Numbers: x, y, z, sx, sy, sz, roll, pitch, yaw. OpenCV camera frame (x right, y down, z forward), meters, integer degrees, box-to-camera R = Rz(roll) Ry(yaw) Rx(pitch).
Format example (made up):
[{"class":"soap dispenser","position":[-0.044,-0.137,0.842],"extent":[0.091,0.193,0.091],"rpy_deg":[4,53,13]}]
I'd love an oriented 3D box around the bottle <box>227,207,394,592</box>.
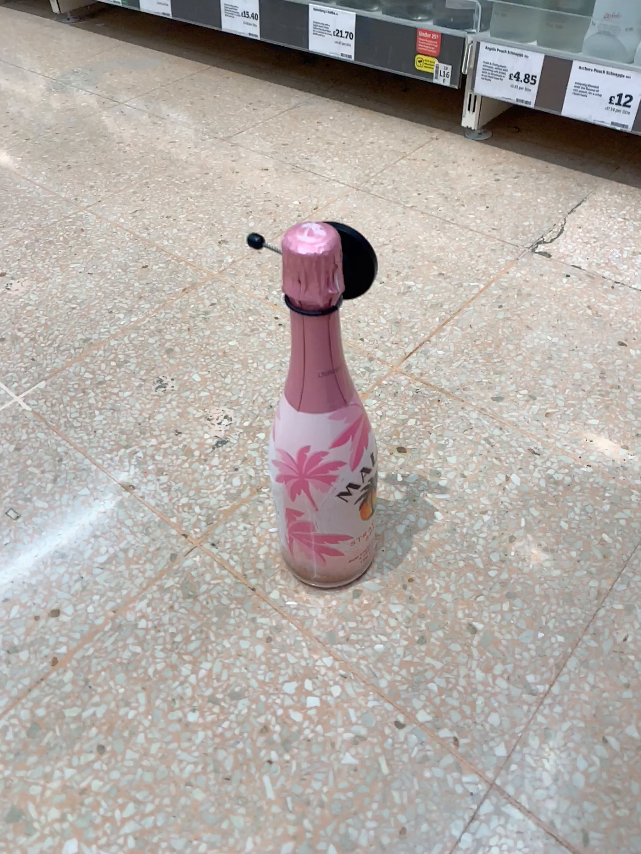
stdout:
[{"class":"bottle","position":[0.004,0.002,0.450],"extent":[0.080,0.286,0.081],"rpy_deg":[-2,46,2]}]
